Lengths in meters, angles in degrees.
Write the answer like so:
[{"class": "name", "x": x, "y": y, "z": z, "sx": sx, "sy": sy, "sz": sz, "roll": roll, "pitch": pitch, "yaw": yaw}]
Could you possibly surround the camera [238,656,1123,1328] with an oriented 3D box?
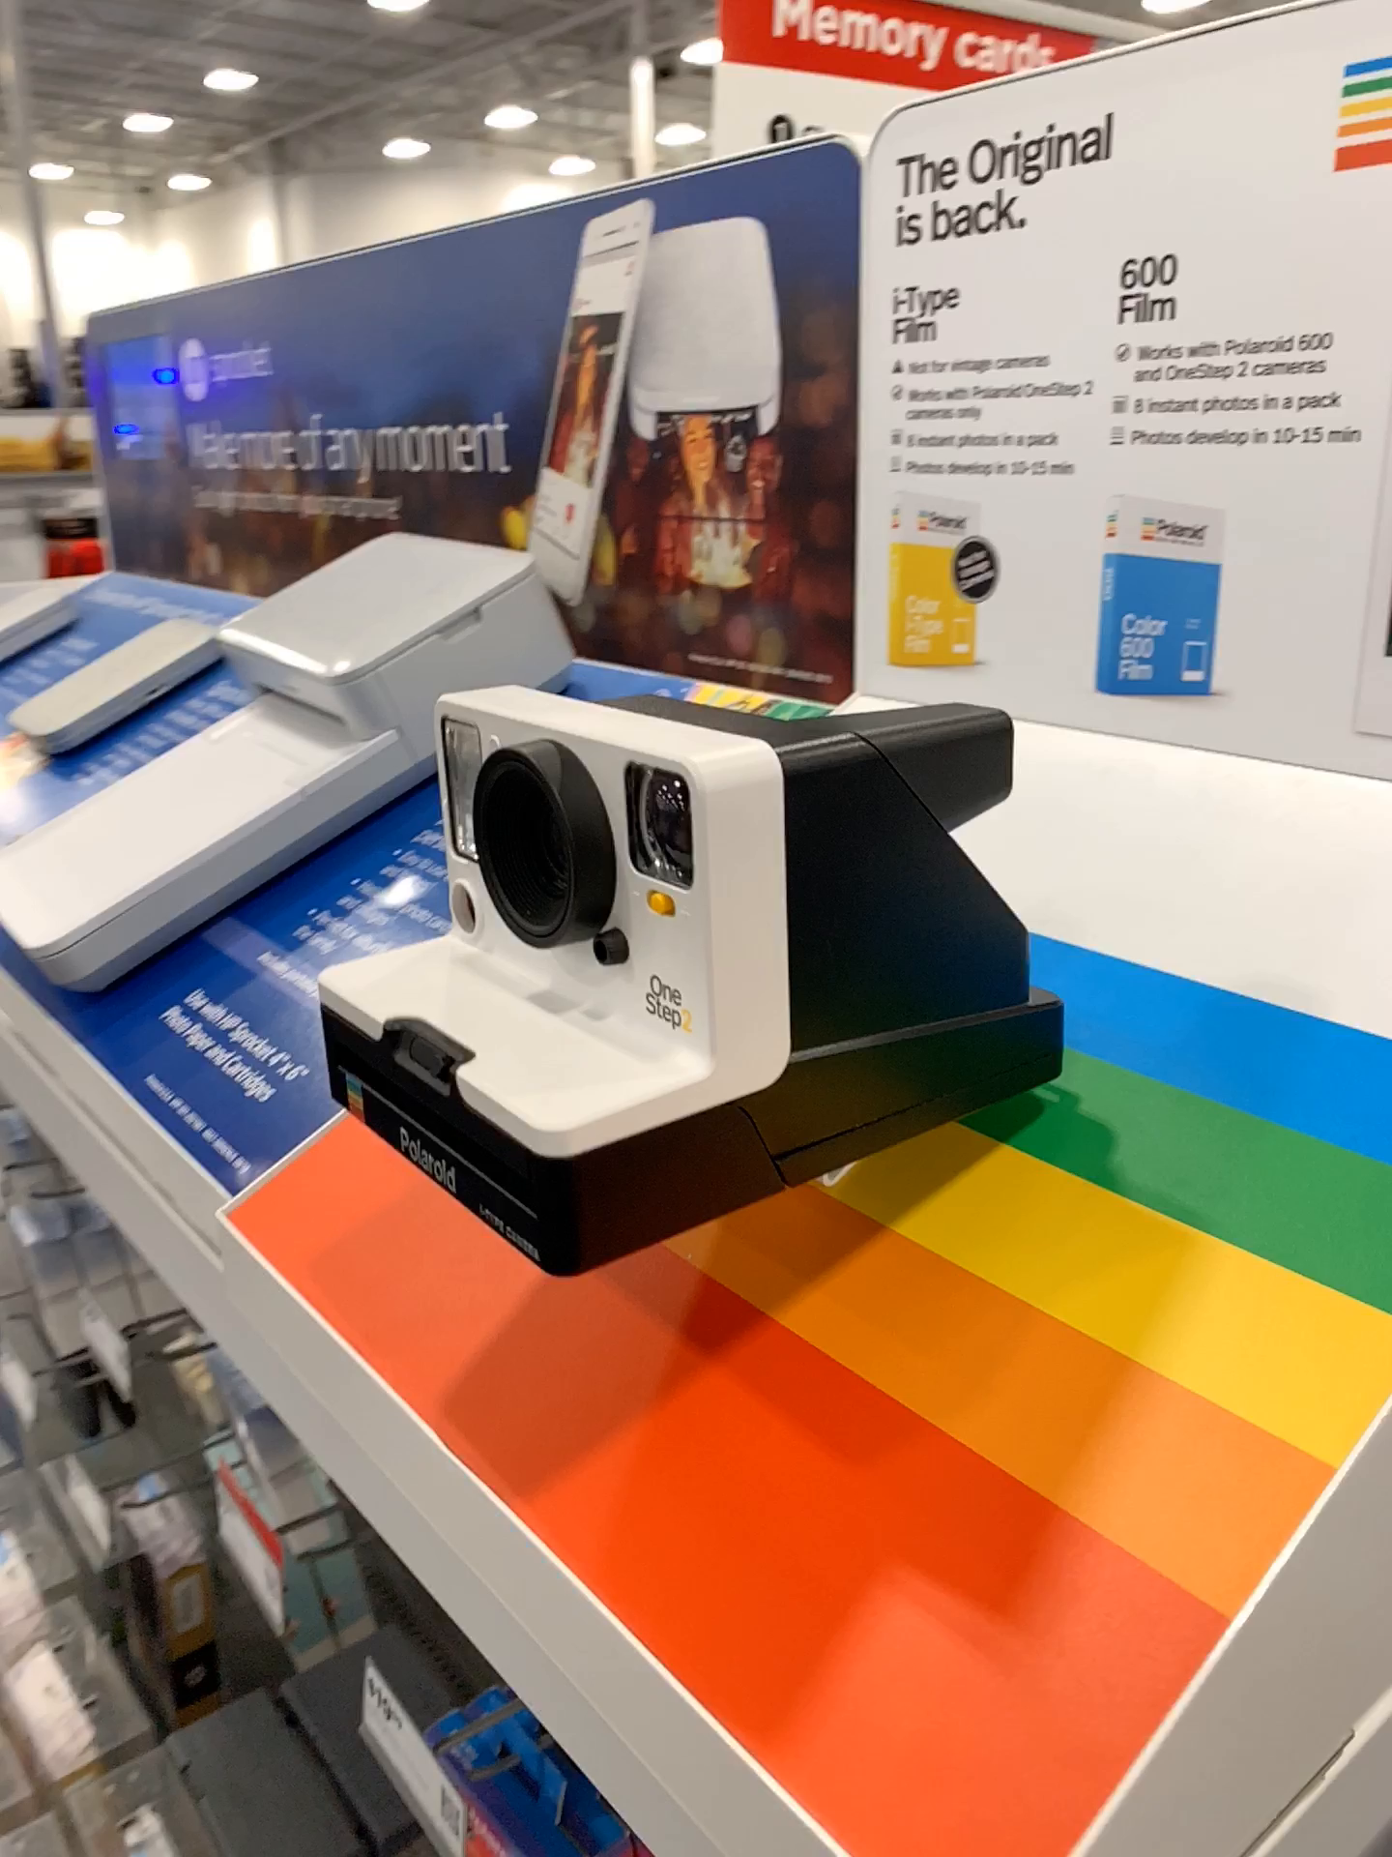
[{"class": "camera", "x": -0.004, "y": -0.003, "z": 0.336, "sx": 0.150, "sy": 0.090, "sz": 0.130, "roll": -16, "pitch": 24, "yaw": -36}]
